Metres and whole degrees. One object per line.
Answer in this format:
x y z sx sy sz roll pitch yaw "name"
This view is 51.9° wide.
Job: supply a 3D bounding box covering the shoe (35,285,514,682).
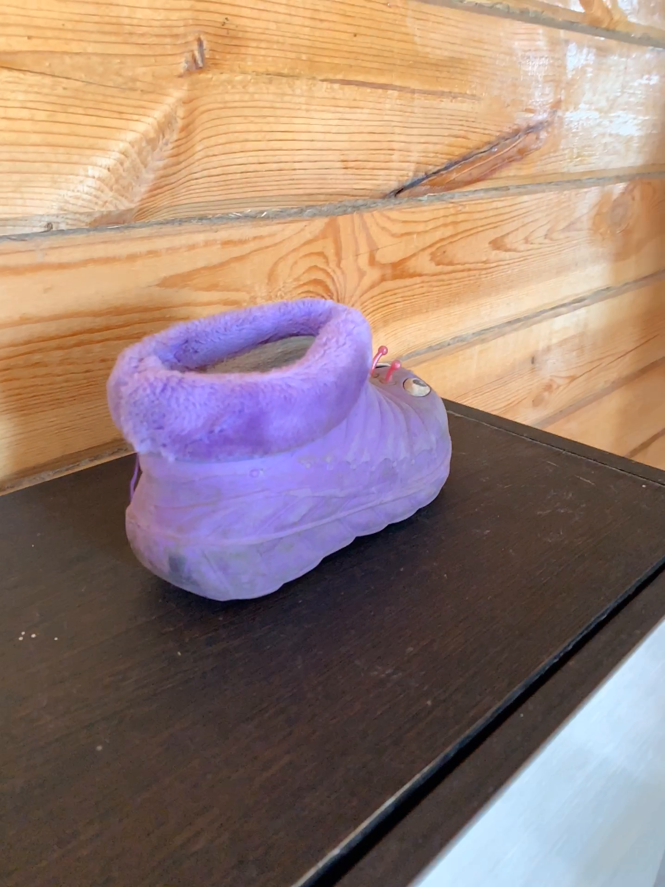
-0.011 -0.004 0.317 0.090 0.099 0.201 19 30 39 "shoe"
